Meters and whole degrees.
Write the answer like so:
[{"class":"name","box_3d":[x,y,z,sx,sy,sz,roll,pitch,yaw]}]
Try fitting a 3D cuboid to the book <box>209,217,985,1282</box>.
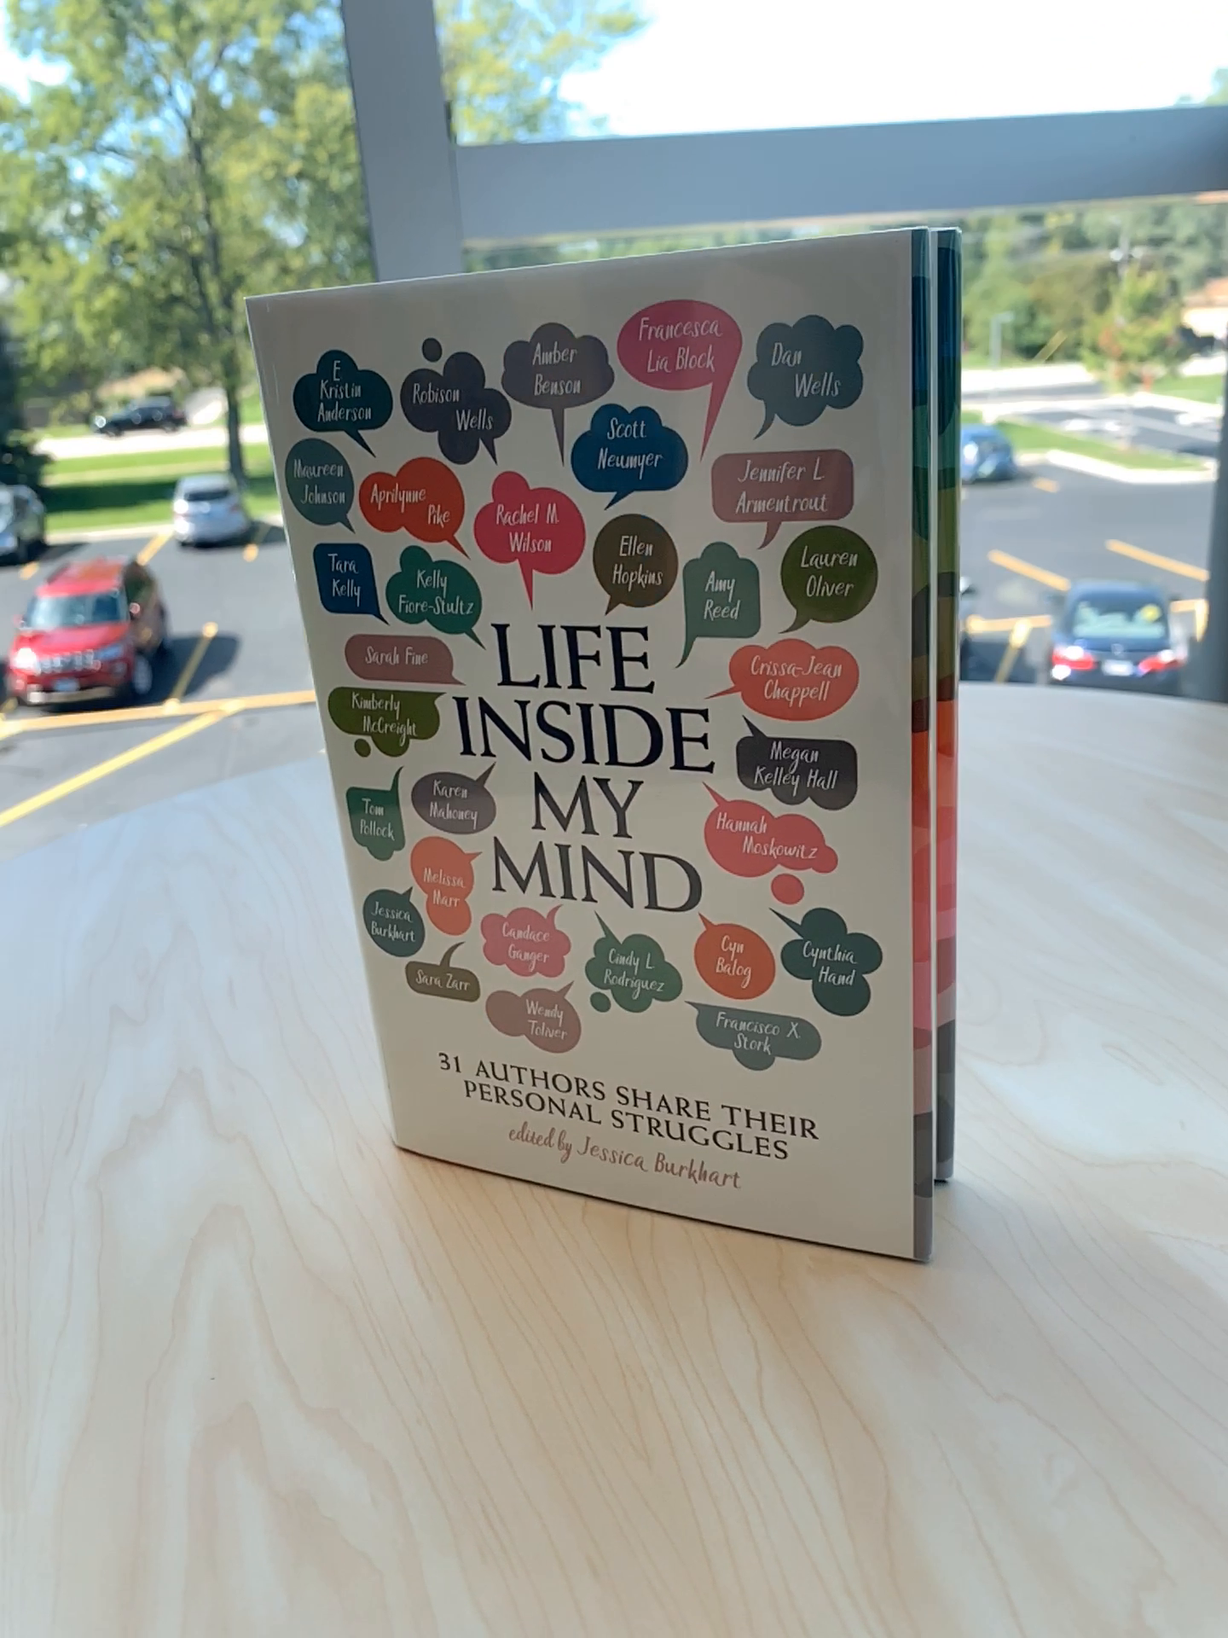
[{"class":"book","box_3d":[0.001,-0.008,0.287,0.150,0.218,0.030,5,25,23]}]
